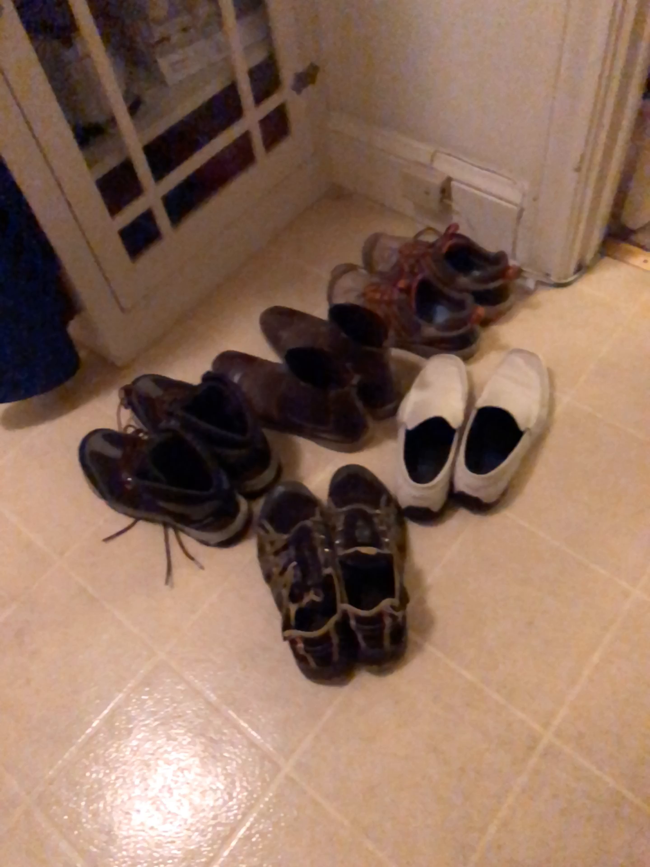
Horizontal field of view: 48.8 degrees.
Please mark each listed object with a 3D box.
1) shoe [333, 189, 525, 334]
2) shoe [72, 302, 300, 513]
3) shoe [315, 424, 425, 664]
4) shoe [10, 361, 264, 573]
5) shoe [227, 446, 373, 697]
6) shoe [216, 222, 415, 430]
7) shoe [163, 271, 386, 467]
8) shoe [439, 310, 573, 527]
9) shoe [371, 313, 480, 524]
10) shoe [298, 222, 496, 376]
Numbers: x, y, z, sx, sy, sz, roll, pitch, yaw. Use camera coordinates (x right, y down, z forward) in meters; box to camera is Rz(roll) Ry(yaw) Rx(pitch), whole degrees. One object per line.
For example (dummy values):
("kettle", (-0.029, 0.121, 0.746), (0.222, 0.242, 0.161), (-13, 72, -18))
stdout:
("shoe", (0.179, -0.310, 1.272), (0.314, 0.113, 0.110), (28, 64, 24))
("shoe", (-0.212, -0.042, 1.119), (0.324, 0.192, 0.110), (30, 65, 25))
("shoe", (0.059, 0.147, 0.992), (0.110, 0.123, 0.294), (-8, 55, 3))
("shoe", (-0.270, 0.049, 1.056), (0.324, 0.192, 0.110), (24, 62, 22))
("shoe", (-0.037, 0.182, 0.978), (0.110, 0.123, 0.294), (-17, 55, -4))
("shoe", (-0.012, -0.180, 1.187), (0.324, 0.192, 0.110), (36, 67, 27))
("shoe", (-0.075, -0.104, 1.145), (0.324, 0.192, 0.110), (25, 63, 23))
("shoe", (0.275, -0.029, 1.087), (0.110, 0.113, 0.304), (17, 60, 18))
("shoe", (0.160, -0.030, 1.101), (0.110, 0.113, 0.304), (8, 57, 13))
("shoe", (0.119, -0.233, 1.222), (0.314, 0.113, 0.110), (28, 64, 24))
